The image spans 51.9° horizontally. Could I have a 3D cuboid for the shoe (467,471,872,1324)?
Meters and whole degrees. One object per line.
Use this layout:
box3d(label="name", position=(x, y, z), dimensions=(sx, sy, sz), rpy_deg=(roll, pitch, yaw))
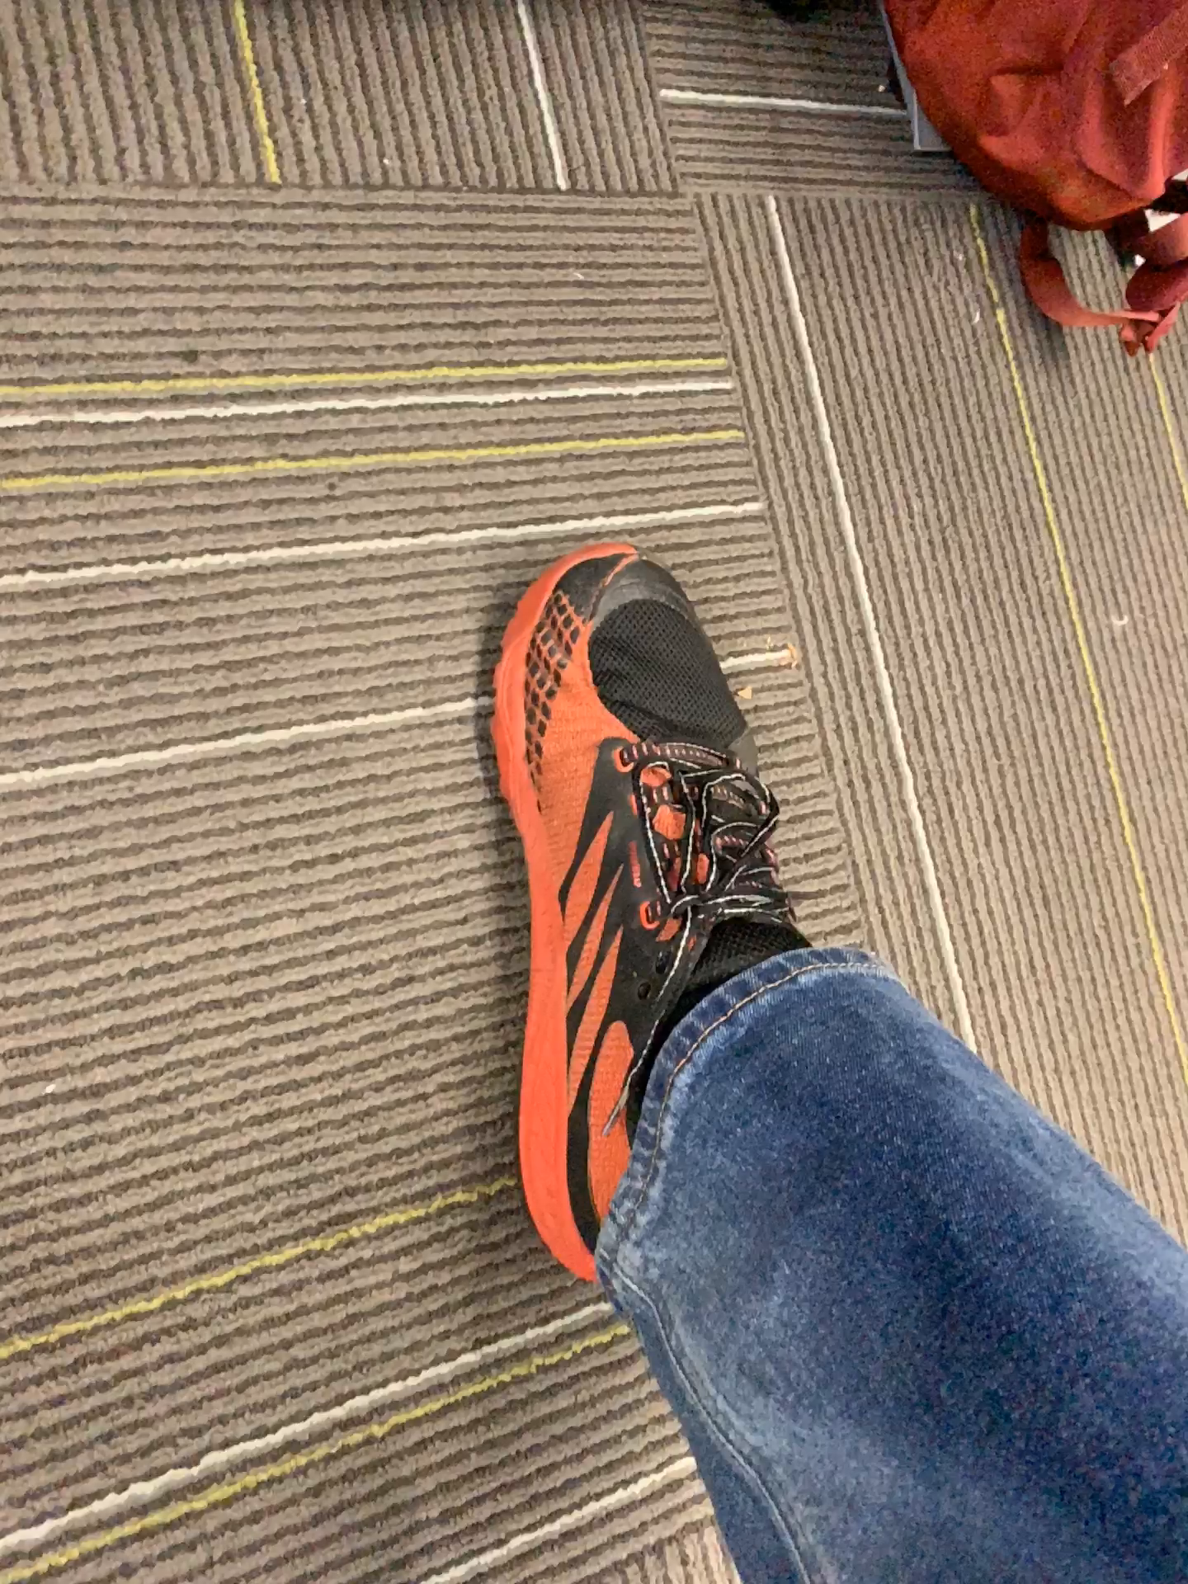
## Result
box3d(label="shoe", position=(0.027, 0.038, 0.516), dimensions=(0.131, 0.077, 0.318), rpy_deg=(0, 81, -24))
